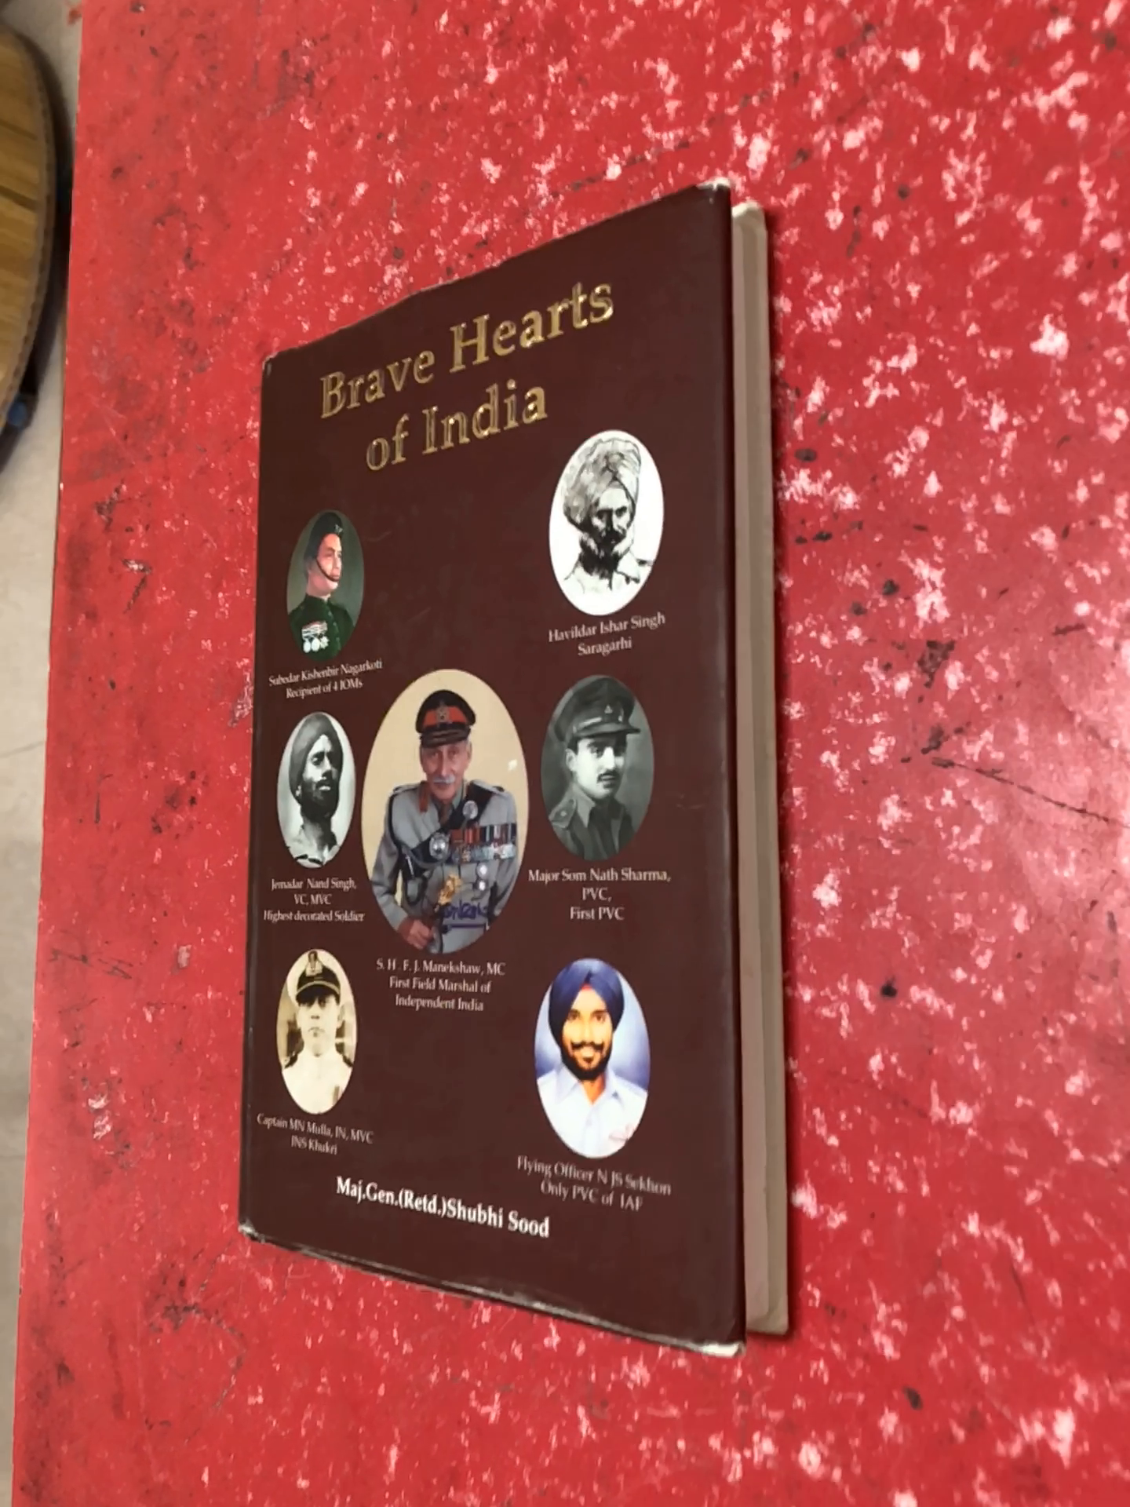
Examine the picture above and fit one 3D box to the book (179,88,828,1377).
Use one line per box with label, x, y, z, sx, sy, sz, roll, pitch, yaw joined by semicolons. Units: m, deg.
book;-0.021;-0.003;0.271;0.151;0.030;0.220;-6;81;39
